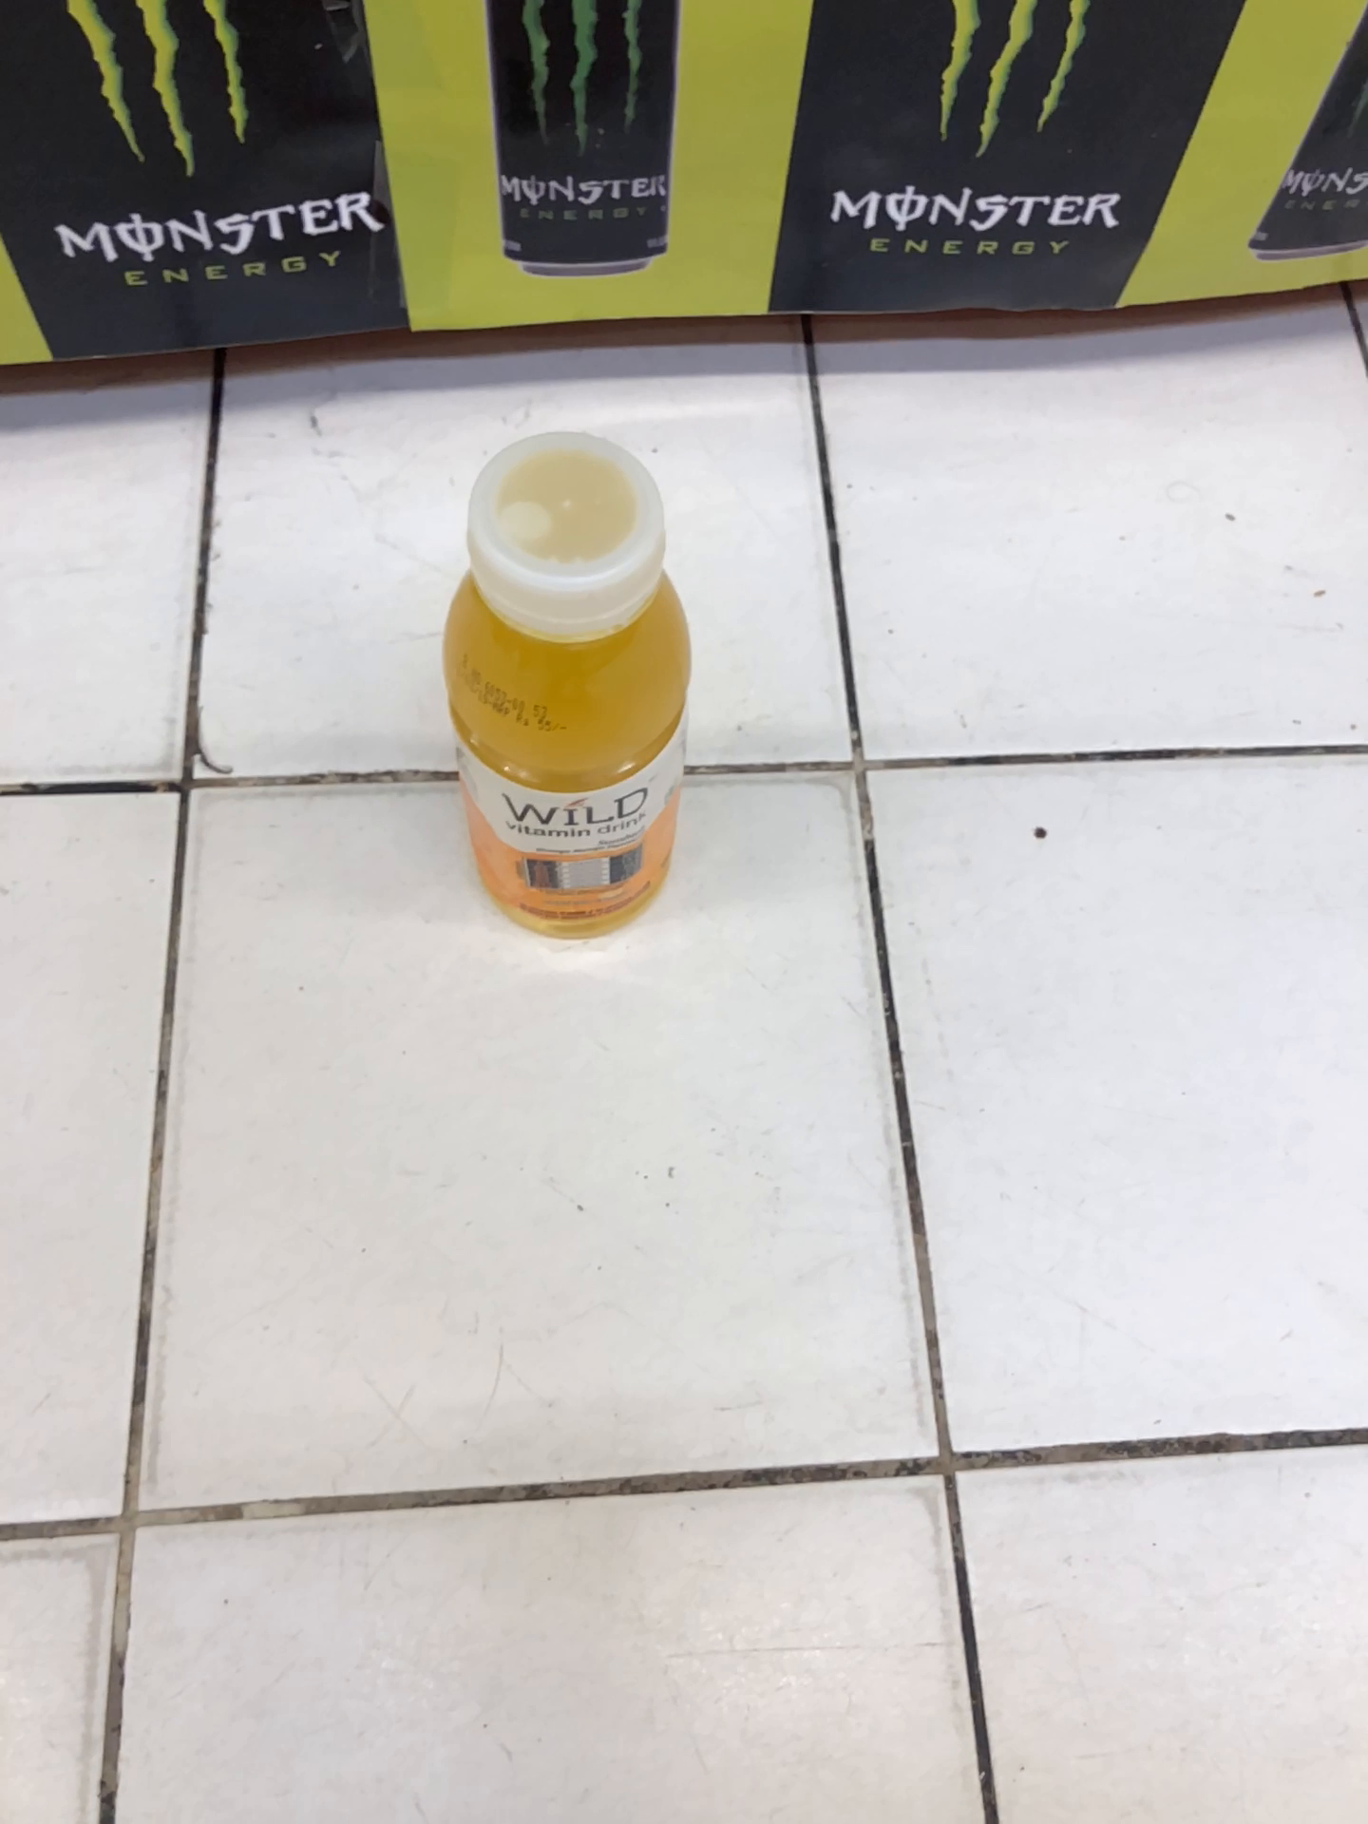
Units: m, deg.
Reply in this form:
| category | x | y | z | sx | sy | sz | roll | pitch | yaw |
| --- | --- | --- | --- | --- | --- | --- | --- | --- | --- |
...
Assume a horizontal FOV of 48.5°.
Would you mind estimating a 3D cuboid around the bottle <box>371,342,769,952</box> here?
| category | x | y | z | sx | sy | sz | roll | pitch | yaw |
| --- | --- | --- | --- | --- | --- | --- | --- | --- | --- |
| bottle | -0.028 | -0.053 | 0.354 | 0.070 | 0.139 | 0.070 | 2 | 66 | -3 |
